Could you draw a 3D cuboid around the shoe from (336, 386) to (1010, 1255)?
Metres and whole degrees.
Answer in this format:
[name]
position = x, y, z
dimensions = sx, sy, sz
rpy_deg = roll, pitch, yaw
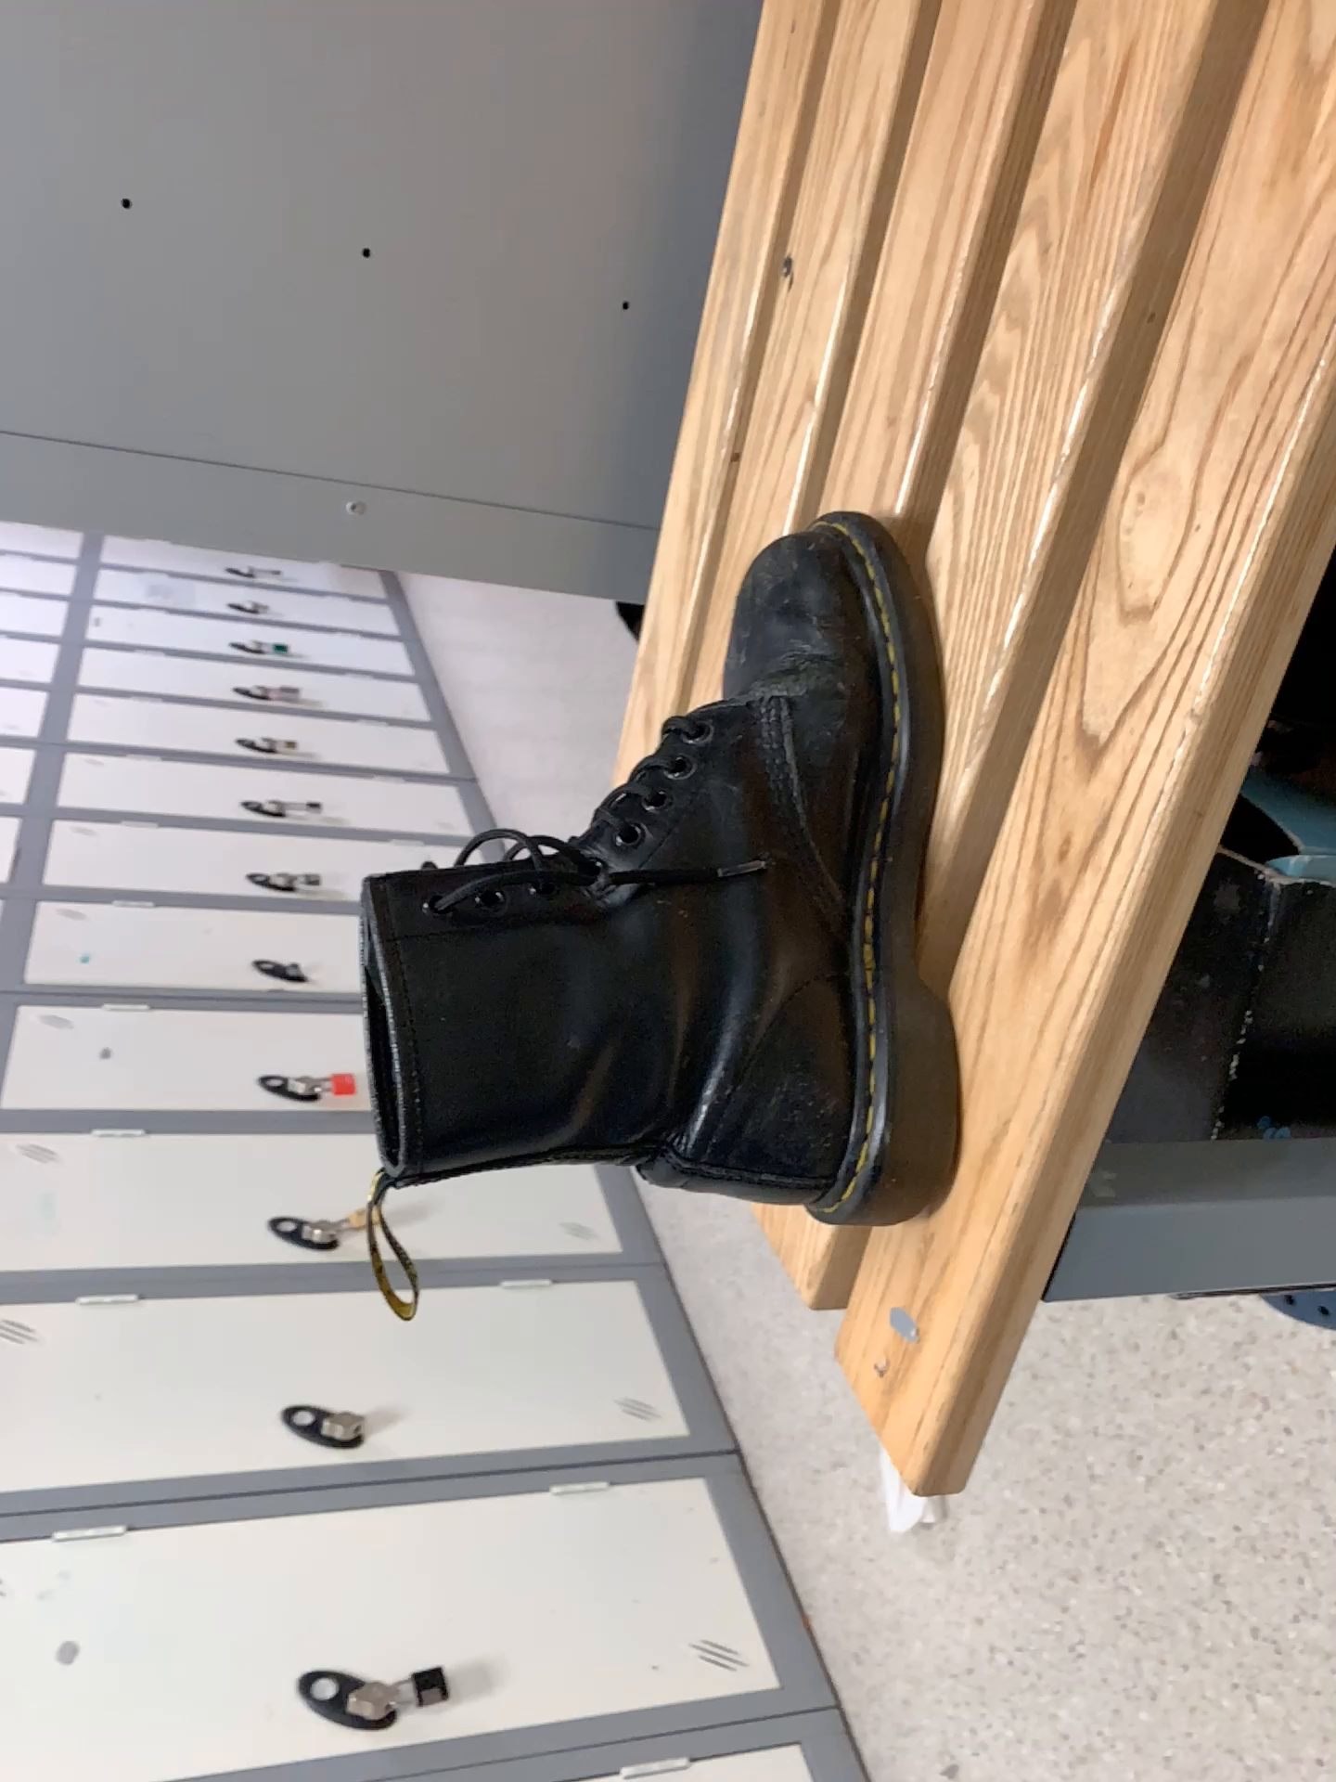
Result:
[shoe]
position = -0.003, -0.013, 0.482
dimensions = 0.107, 0.199, 0.261
rpy_deg = 153, 119, -67
